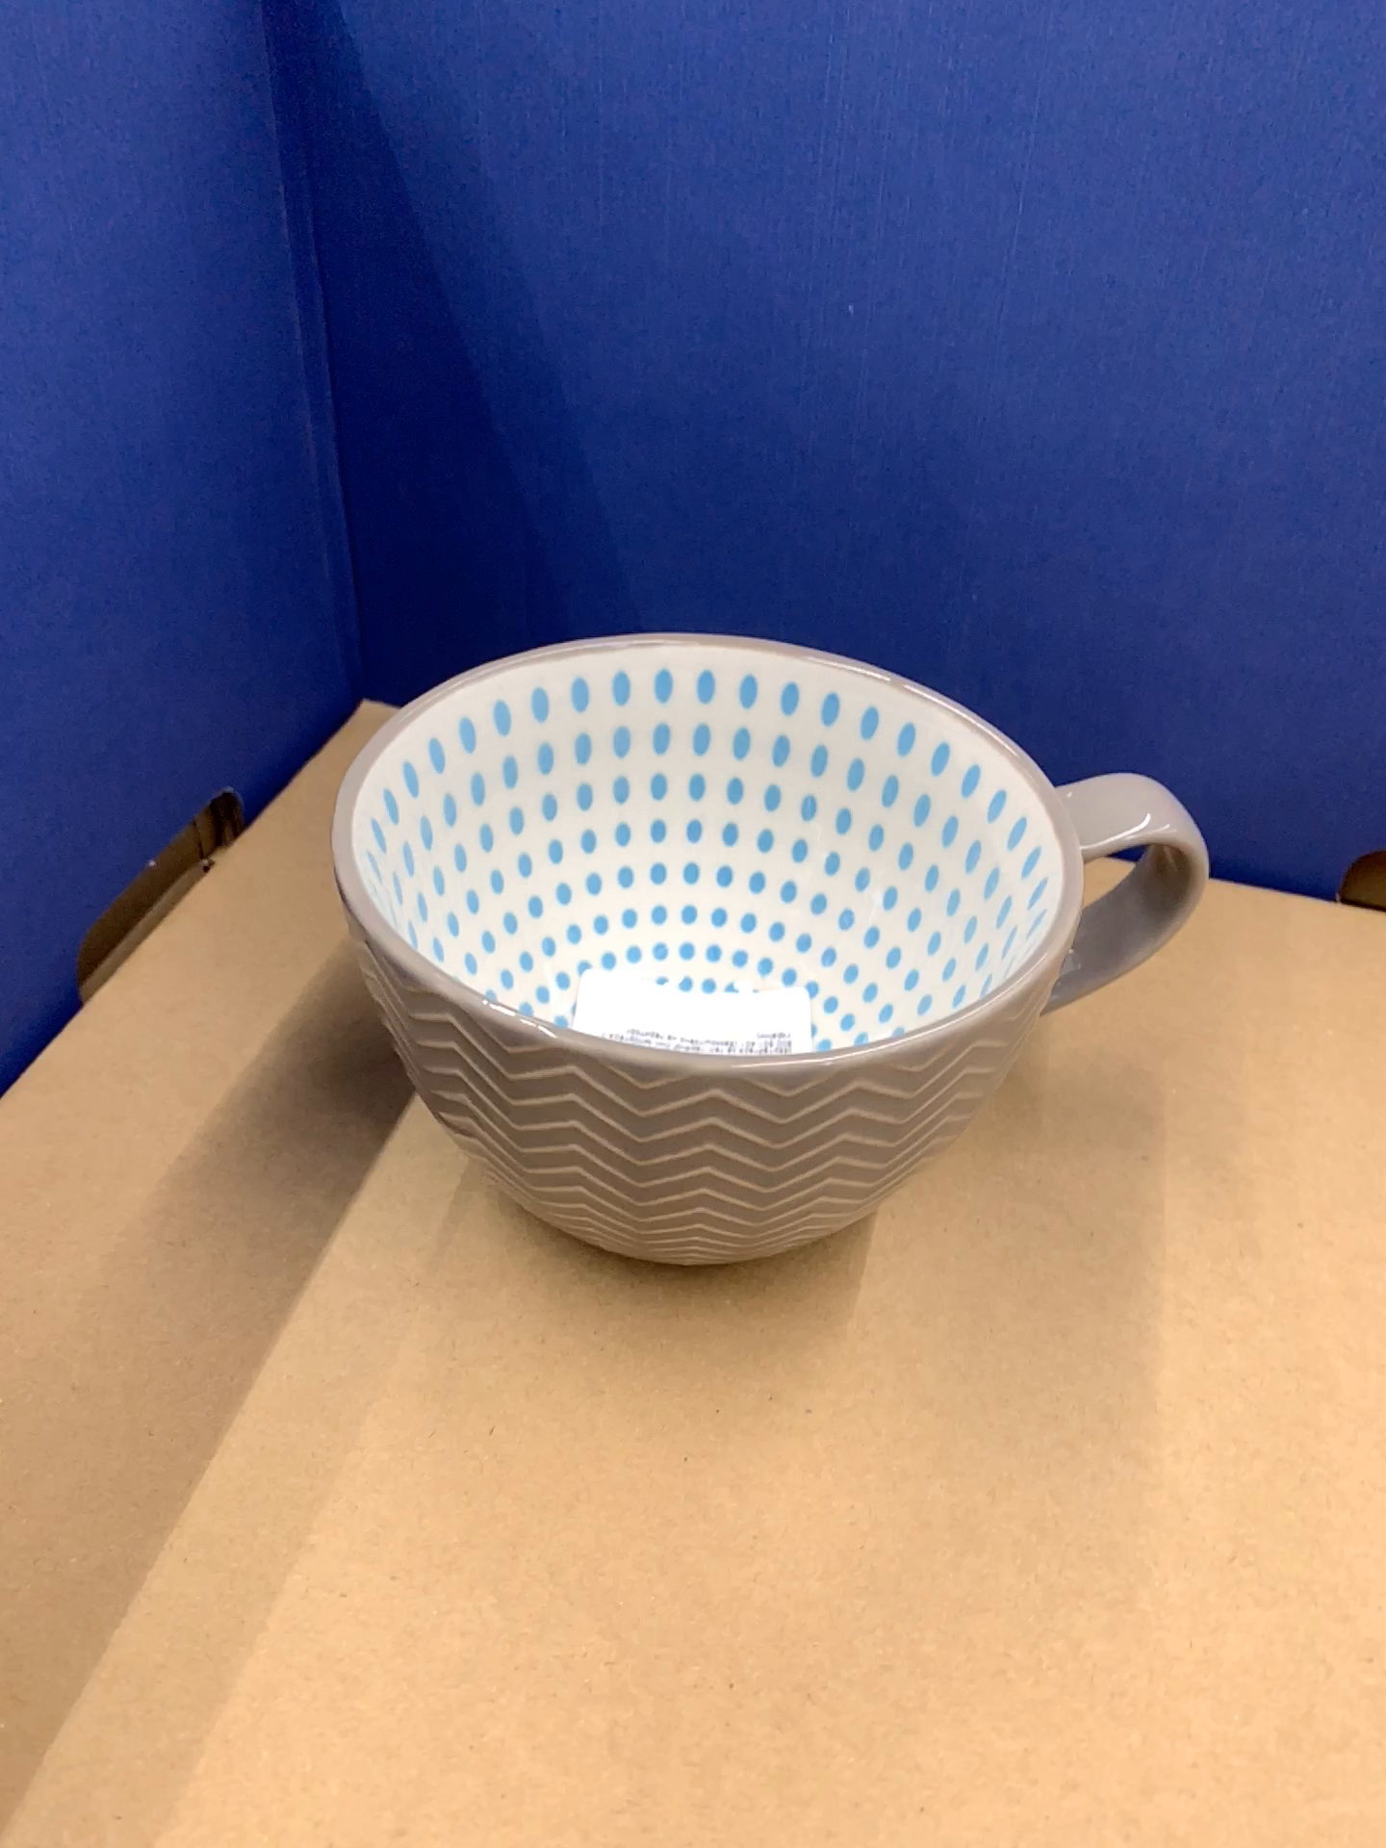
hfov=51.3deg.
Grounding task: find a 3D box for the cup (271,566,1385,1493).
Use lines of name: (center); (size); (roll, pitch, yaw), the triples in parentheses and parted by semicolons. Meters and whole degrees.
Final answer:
cup: (0.018, 0.002, 0.239); (0.143, 0.061, 0.119); (-13, 40, -20)
